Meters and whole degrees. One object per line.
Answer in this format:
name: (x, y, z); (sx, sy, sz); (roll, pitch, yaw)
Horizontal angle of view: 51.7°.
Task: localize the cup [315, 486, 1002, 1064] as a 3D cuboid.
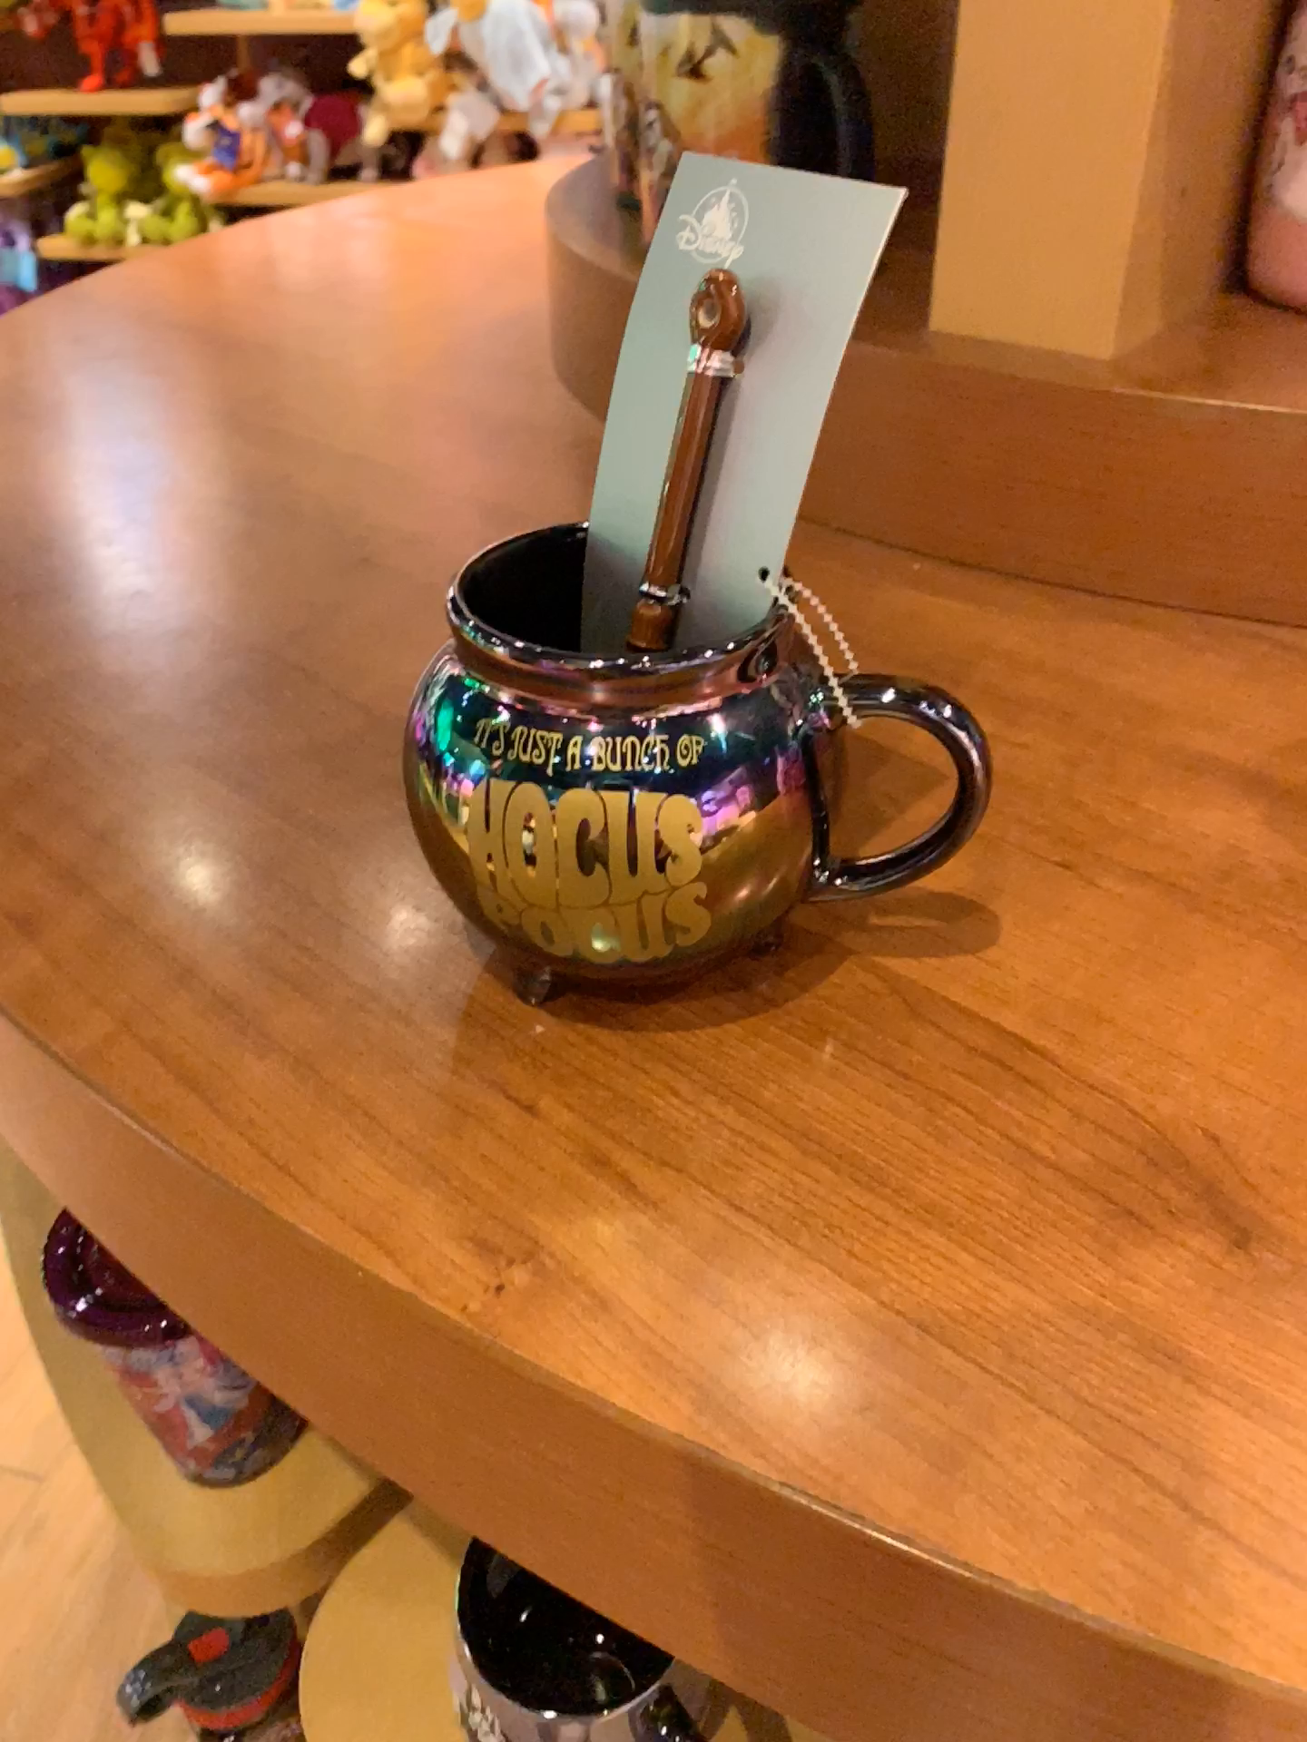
cup: (0.009, -0.029, 0.327); (0.136, 0.089, 0.101); (6, 36, 11)
